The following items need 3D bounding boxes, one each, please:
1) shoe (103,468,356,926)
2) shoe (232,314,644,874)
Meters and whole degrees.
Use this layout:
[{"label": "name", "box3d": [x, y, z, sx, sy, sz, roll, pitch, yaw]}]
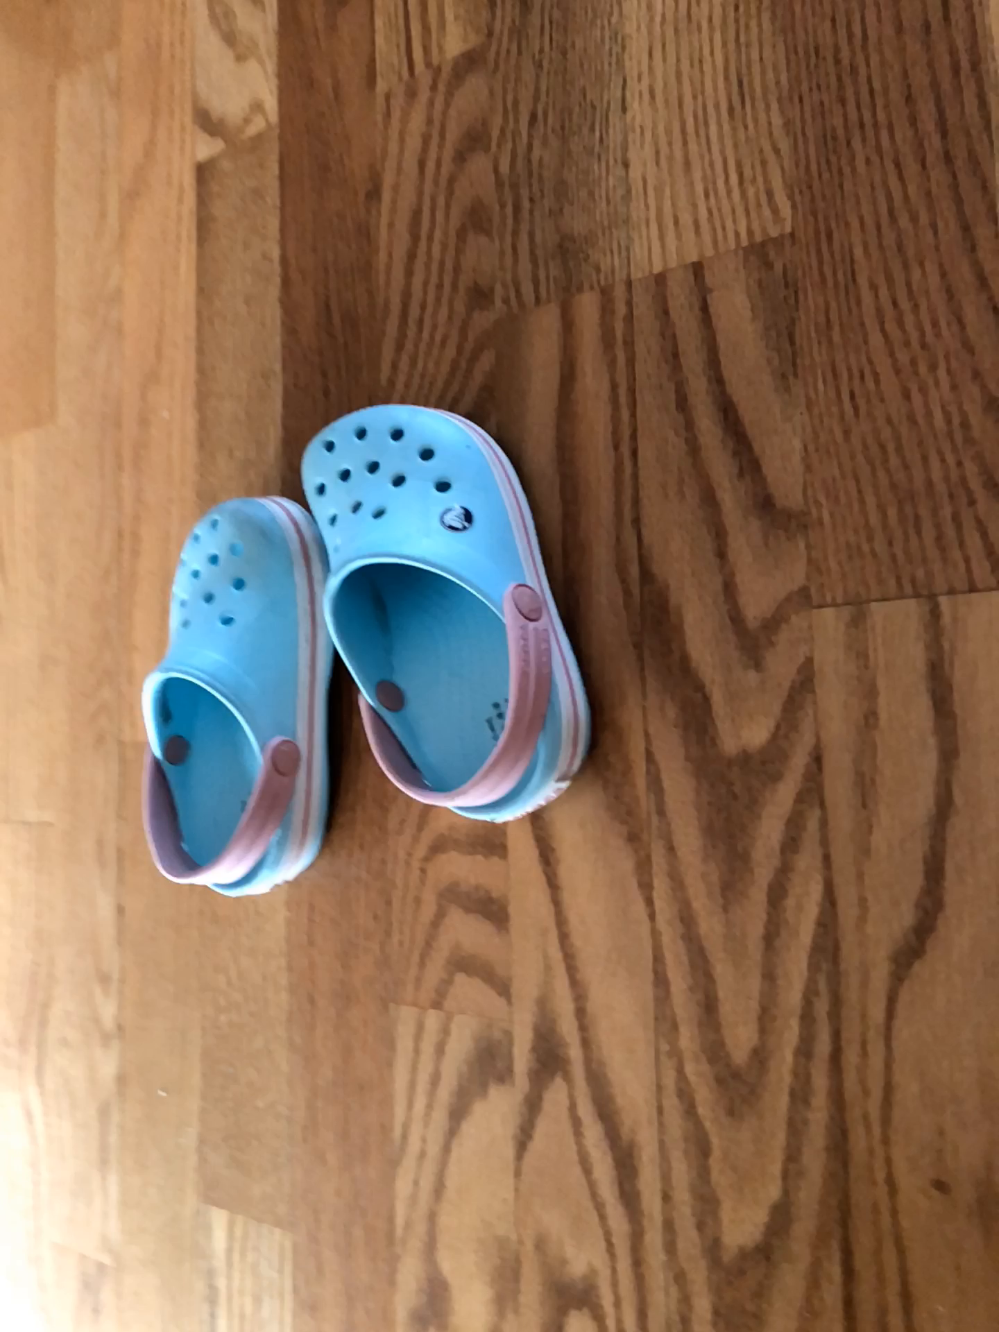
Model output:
[{"label": "shoe", "box3d": [-0.108, 0.013, 0.443, 0.083, 0.057, 0.165, -3, 85, 36]}, {"label": "shoe", "box3d": [-0.026, -0.024, 0.381, 0.083, 0.048, 0.165, -32, 69, 31]}]
